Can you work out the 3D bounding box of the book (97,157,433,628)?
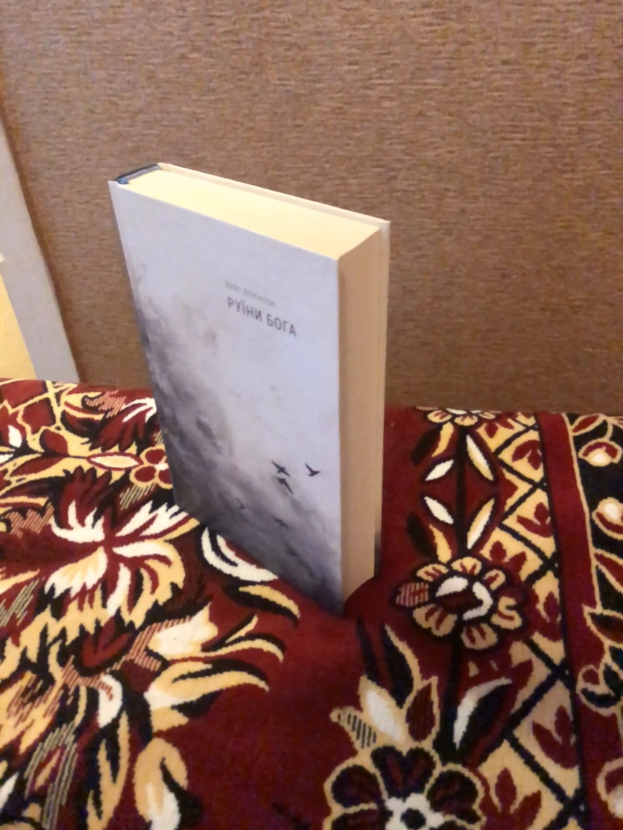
[{"bbox_3d":[-0.021,-0.008,0.343,0.145,0.200,0.048,26,46,32],"label":"book"}]
